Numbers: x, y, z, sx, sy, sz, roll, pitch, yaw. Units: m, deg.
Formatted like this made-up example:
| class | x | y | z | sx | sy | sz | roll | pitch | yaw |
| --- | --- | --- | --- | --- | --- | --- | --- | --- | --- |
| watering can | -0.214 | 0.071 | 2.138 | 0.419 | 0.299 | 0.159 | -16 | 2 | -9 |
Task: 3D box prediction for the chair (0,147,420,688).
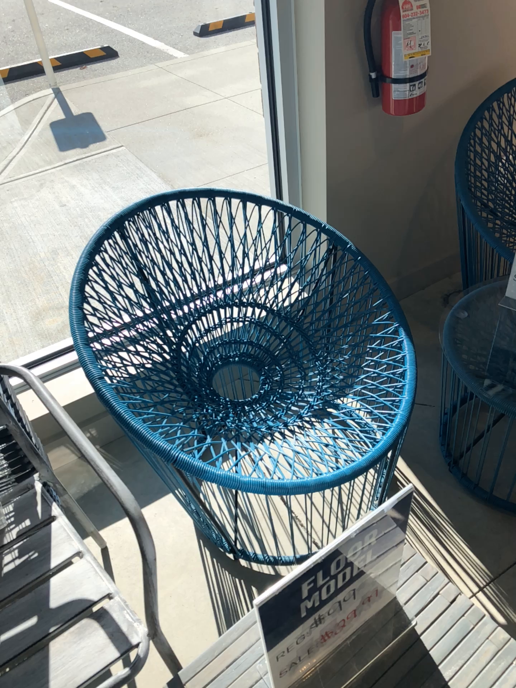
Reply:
| class | x | y | z | sx | sy | sz | roll | pitch | yaw |
| --- | --- | --- | --- | --- | --- | --- | --- | --- | --- |
| chair | -0.060 | 0.167 | 1.403 | 0.661 | 0.993 | 0.723 | 14 | 45 | 22 |
